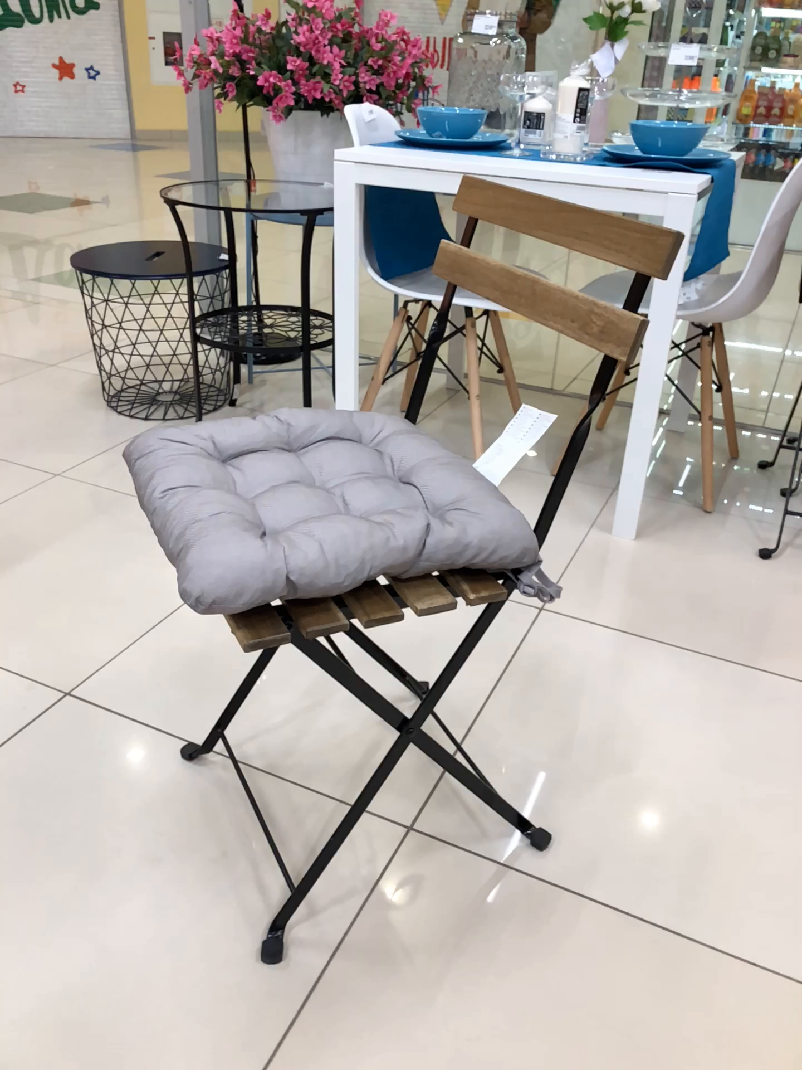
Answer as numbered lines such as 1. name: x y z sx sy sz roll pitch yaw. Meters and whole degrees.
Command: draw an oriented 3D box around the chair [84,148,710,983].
1. chair: -0.047 -0.005 1.008 0.441 0.765 0.442 -12 31 -25
